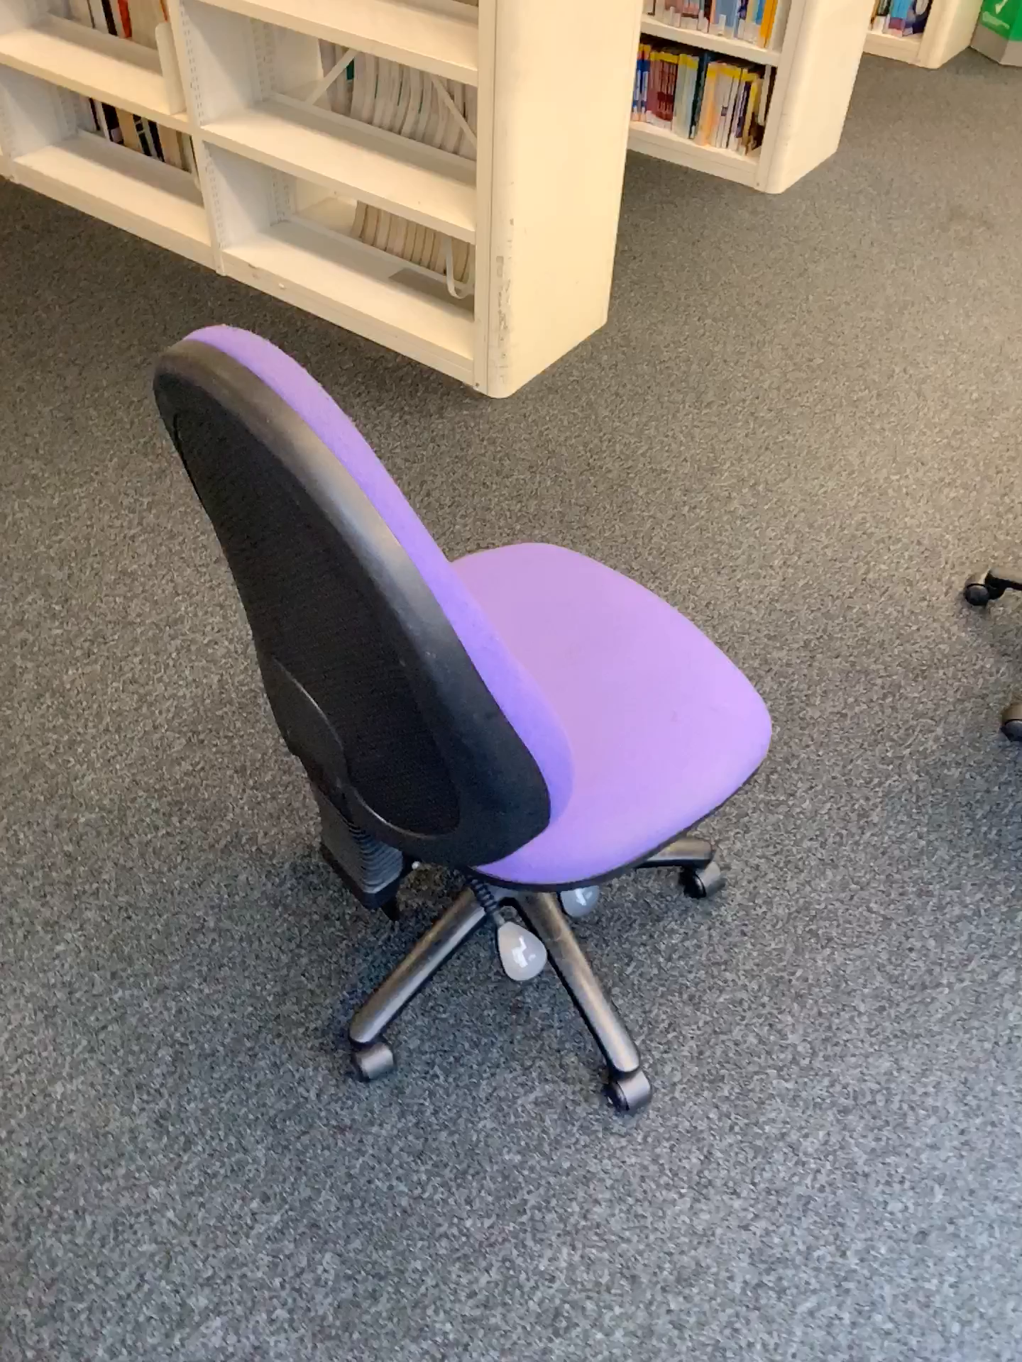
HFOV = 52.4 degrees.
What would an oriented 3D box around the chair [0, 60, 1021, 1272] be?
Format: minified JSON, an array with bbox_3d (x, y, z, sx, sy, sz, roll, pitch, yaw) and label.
[{"bbox_3d":[0.021,0.013,1.155,0.637,0.984,0.672,-32,57,-28],"label":"chair"}]
